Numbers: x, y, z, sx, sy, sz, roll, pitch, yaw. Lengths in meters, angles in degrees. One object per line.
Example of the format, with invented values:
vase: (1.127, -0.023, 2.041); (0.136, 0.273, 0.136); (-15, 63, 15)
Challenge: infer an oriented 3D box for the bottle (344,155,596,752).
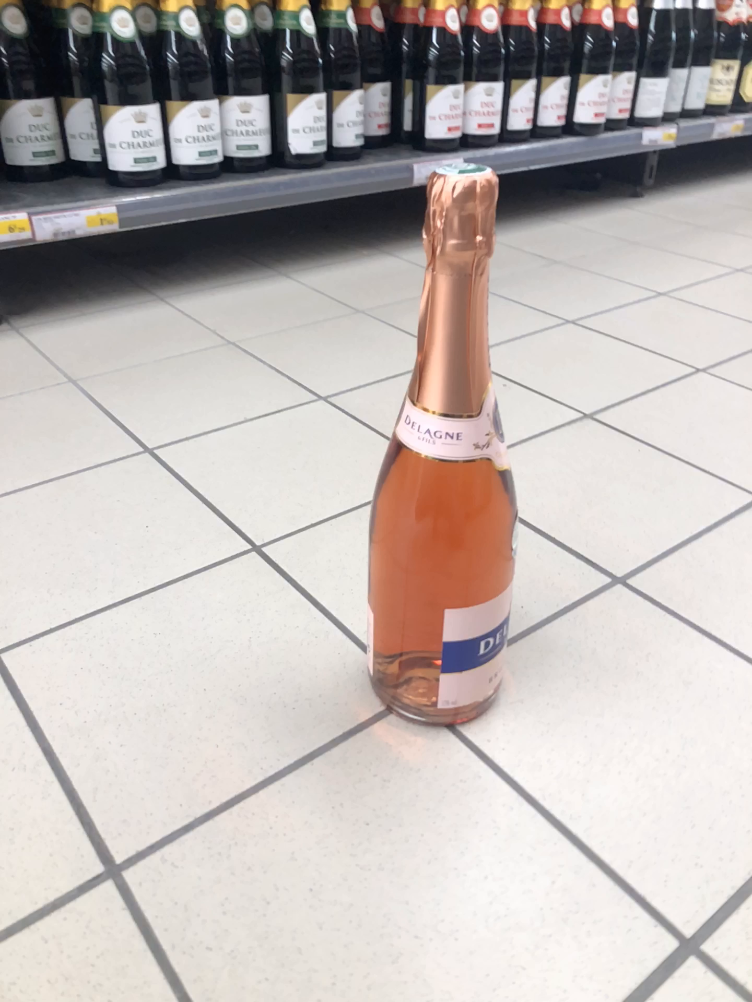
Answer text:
bottle: (0.044, -0.017, 0.435); (0.090, 0.288, 0.101); (10, 32, 15)
